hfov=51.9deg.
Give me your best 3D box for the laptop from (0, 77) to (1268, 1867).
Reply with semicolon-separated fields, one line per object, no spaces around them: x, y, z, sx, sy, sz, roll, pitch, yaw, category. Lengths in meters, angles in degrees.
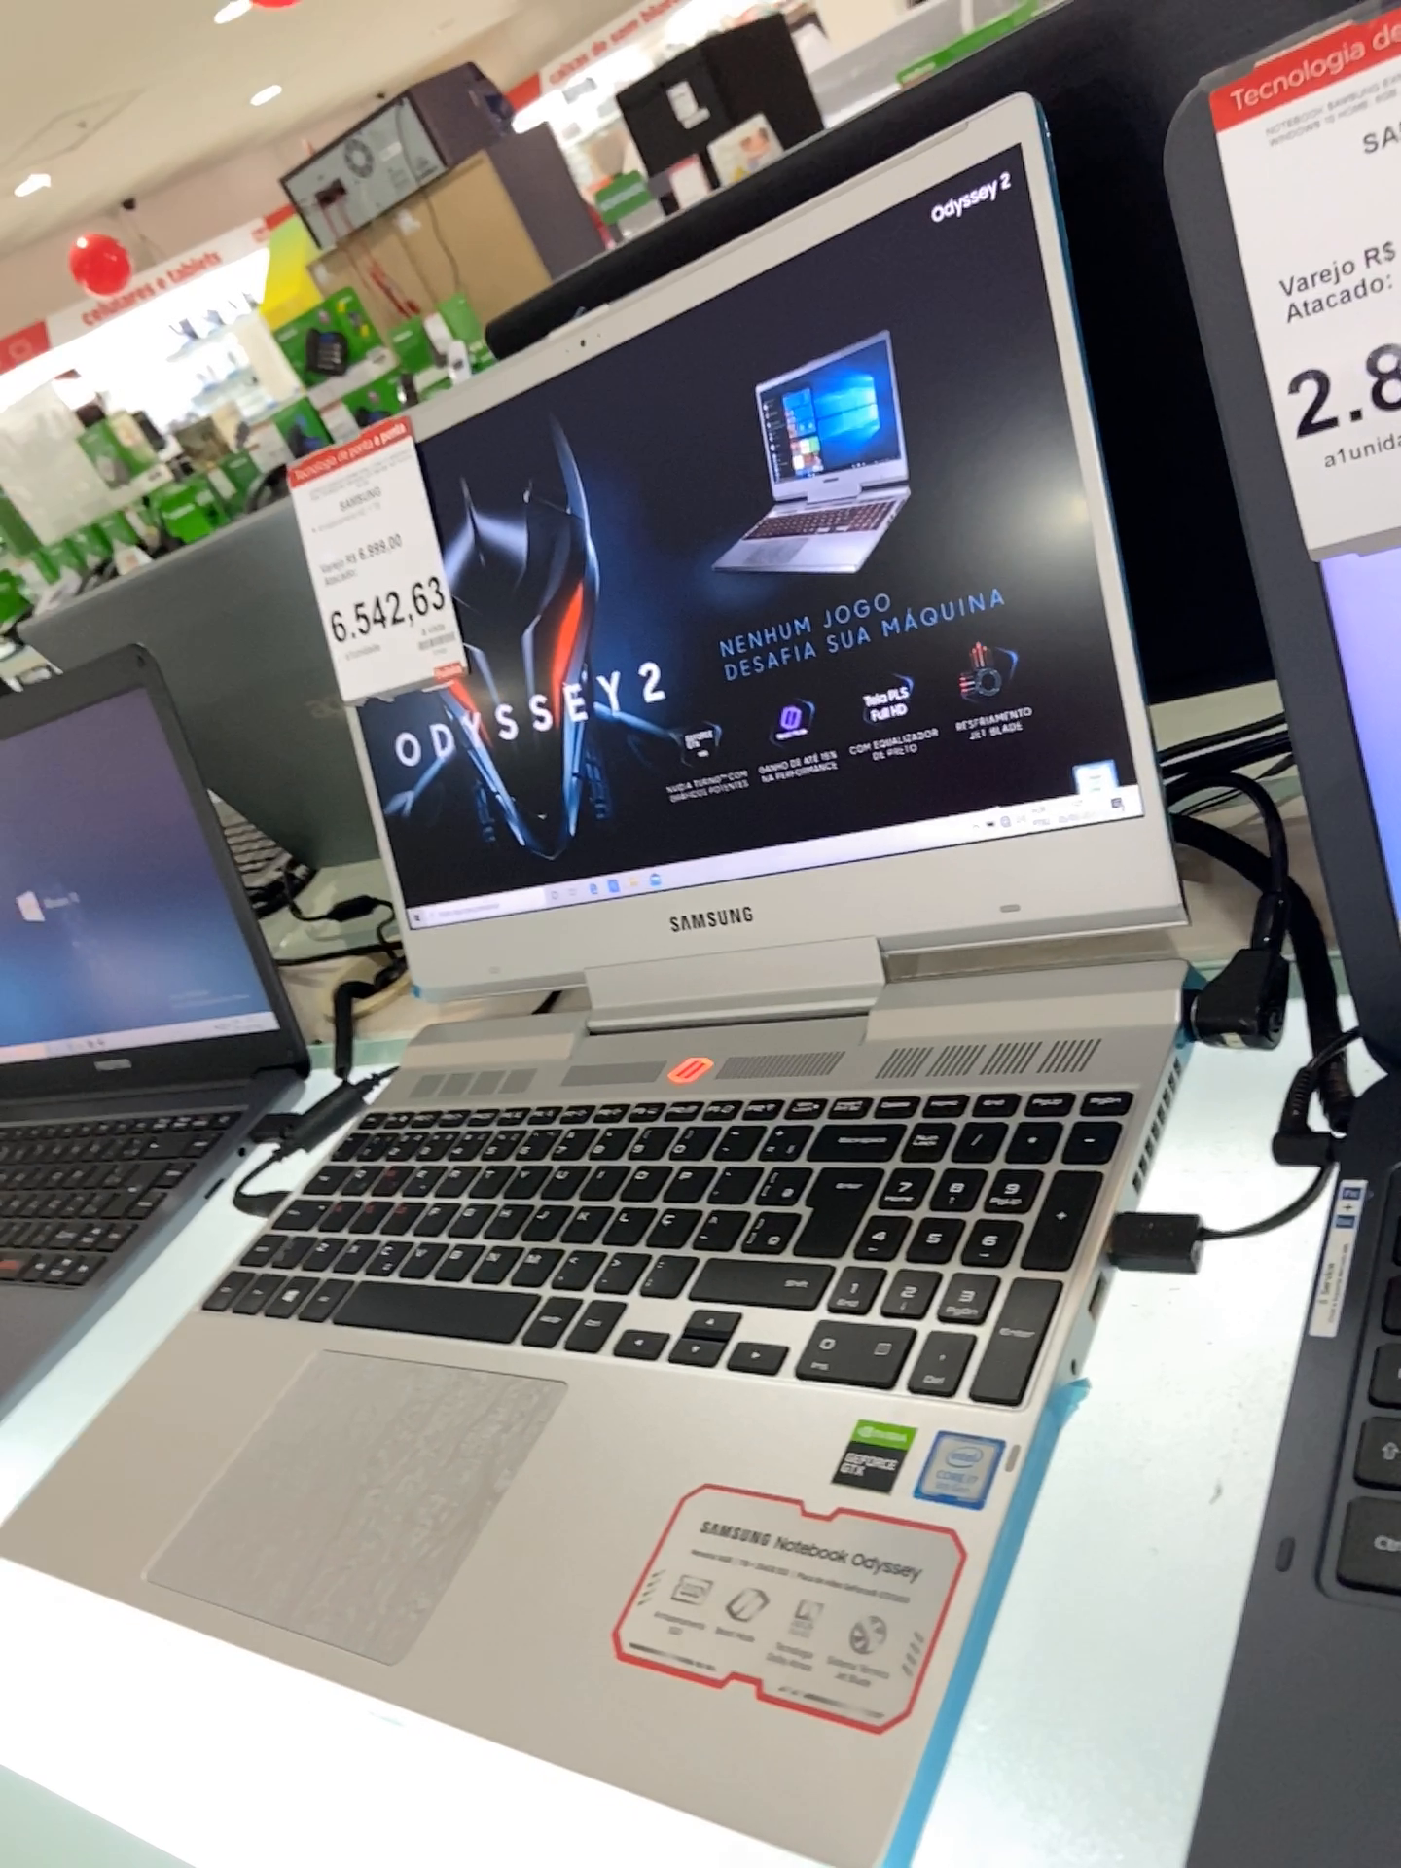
-0.075;-0.016;0.440;0.353;0.225;0.369;-8;34;39;laptop
